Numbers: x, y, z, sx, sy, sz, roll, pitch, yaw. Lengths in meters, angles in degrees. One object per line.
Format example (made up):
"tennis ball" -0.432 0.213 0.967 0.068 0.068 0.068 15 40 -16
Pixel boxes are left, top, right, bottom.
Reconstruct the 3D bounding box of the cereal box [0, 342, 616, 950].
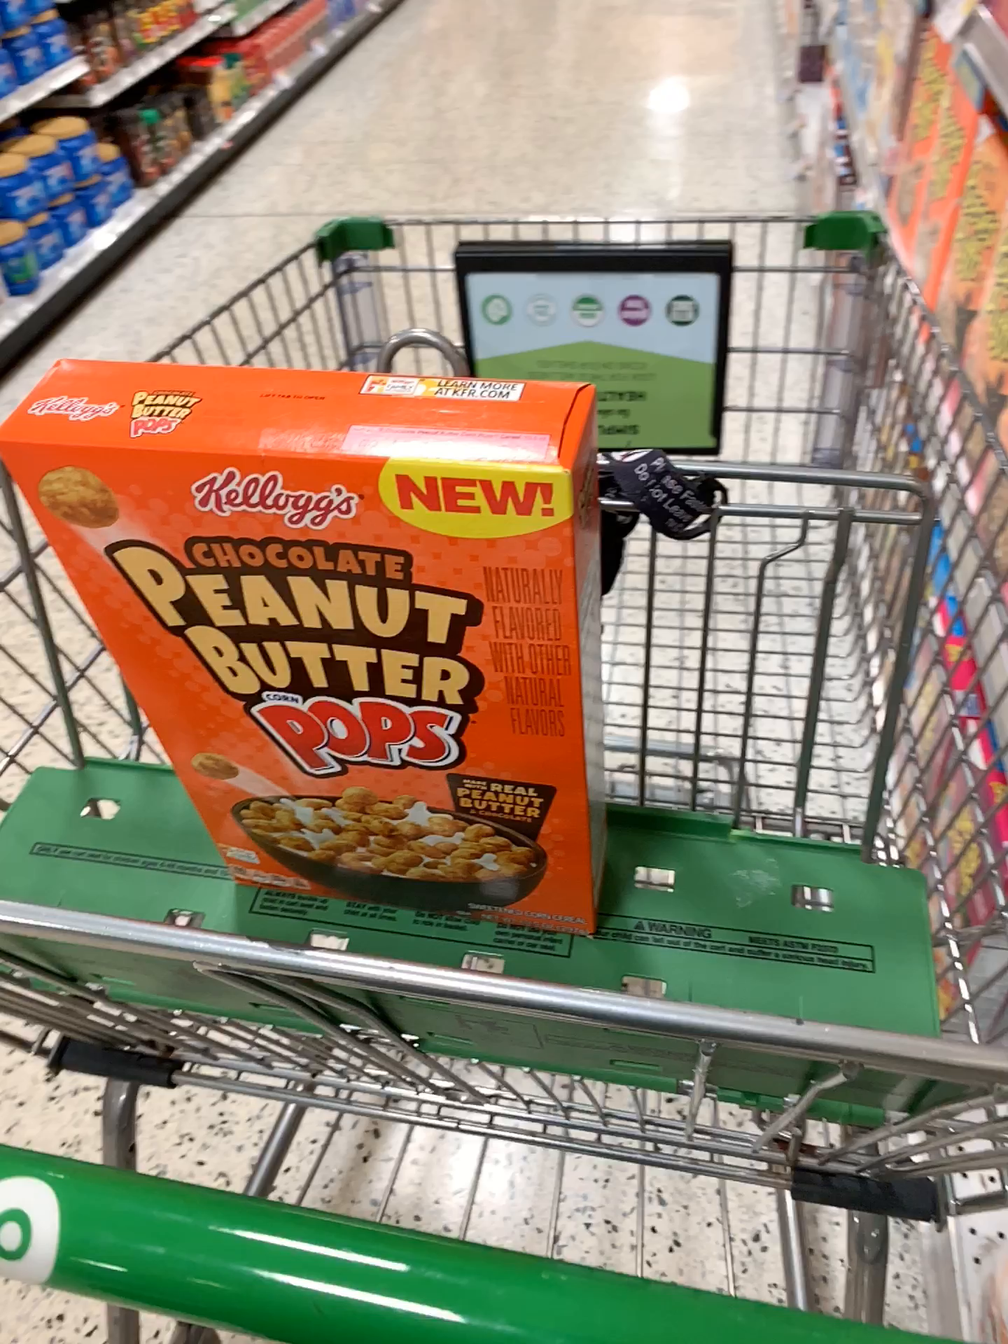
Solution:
"cereal box" -0.059 0.010 0.427 0.200 0.287 0.051 6 50 12
